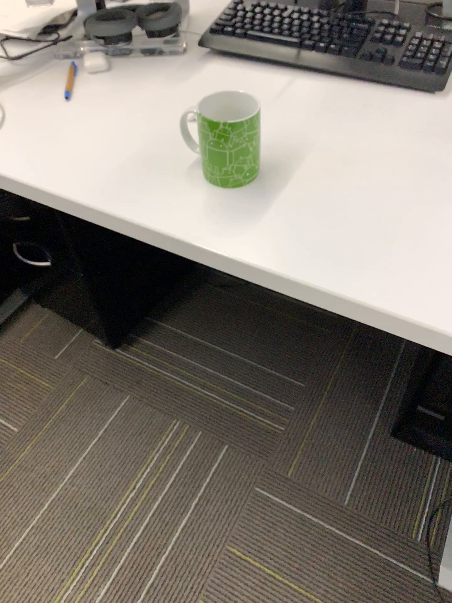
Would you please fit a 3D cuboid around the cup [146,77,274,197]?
[{"bbox_3d":[-0.018,-0.217,0.612,0.130,0.090,0.090,24,55,23],"label":"cup"}]
